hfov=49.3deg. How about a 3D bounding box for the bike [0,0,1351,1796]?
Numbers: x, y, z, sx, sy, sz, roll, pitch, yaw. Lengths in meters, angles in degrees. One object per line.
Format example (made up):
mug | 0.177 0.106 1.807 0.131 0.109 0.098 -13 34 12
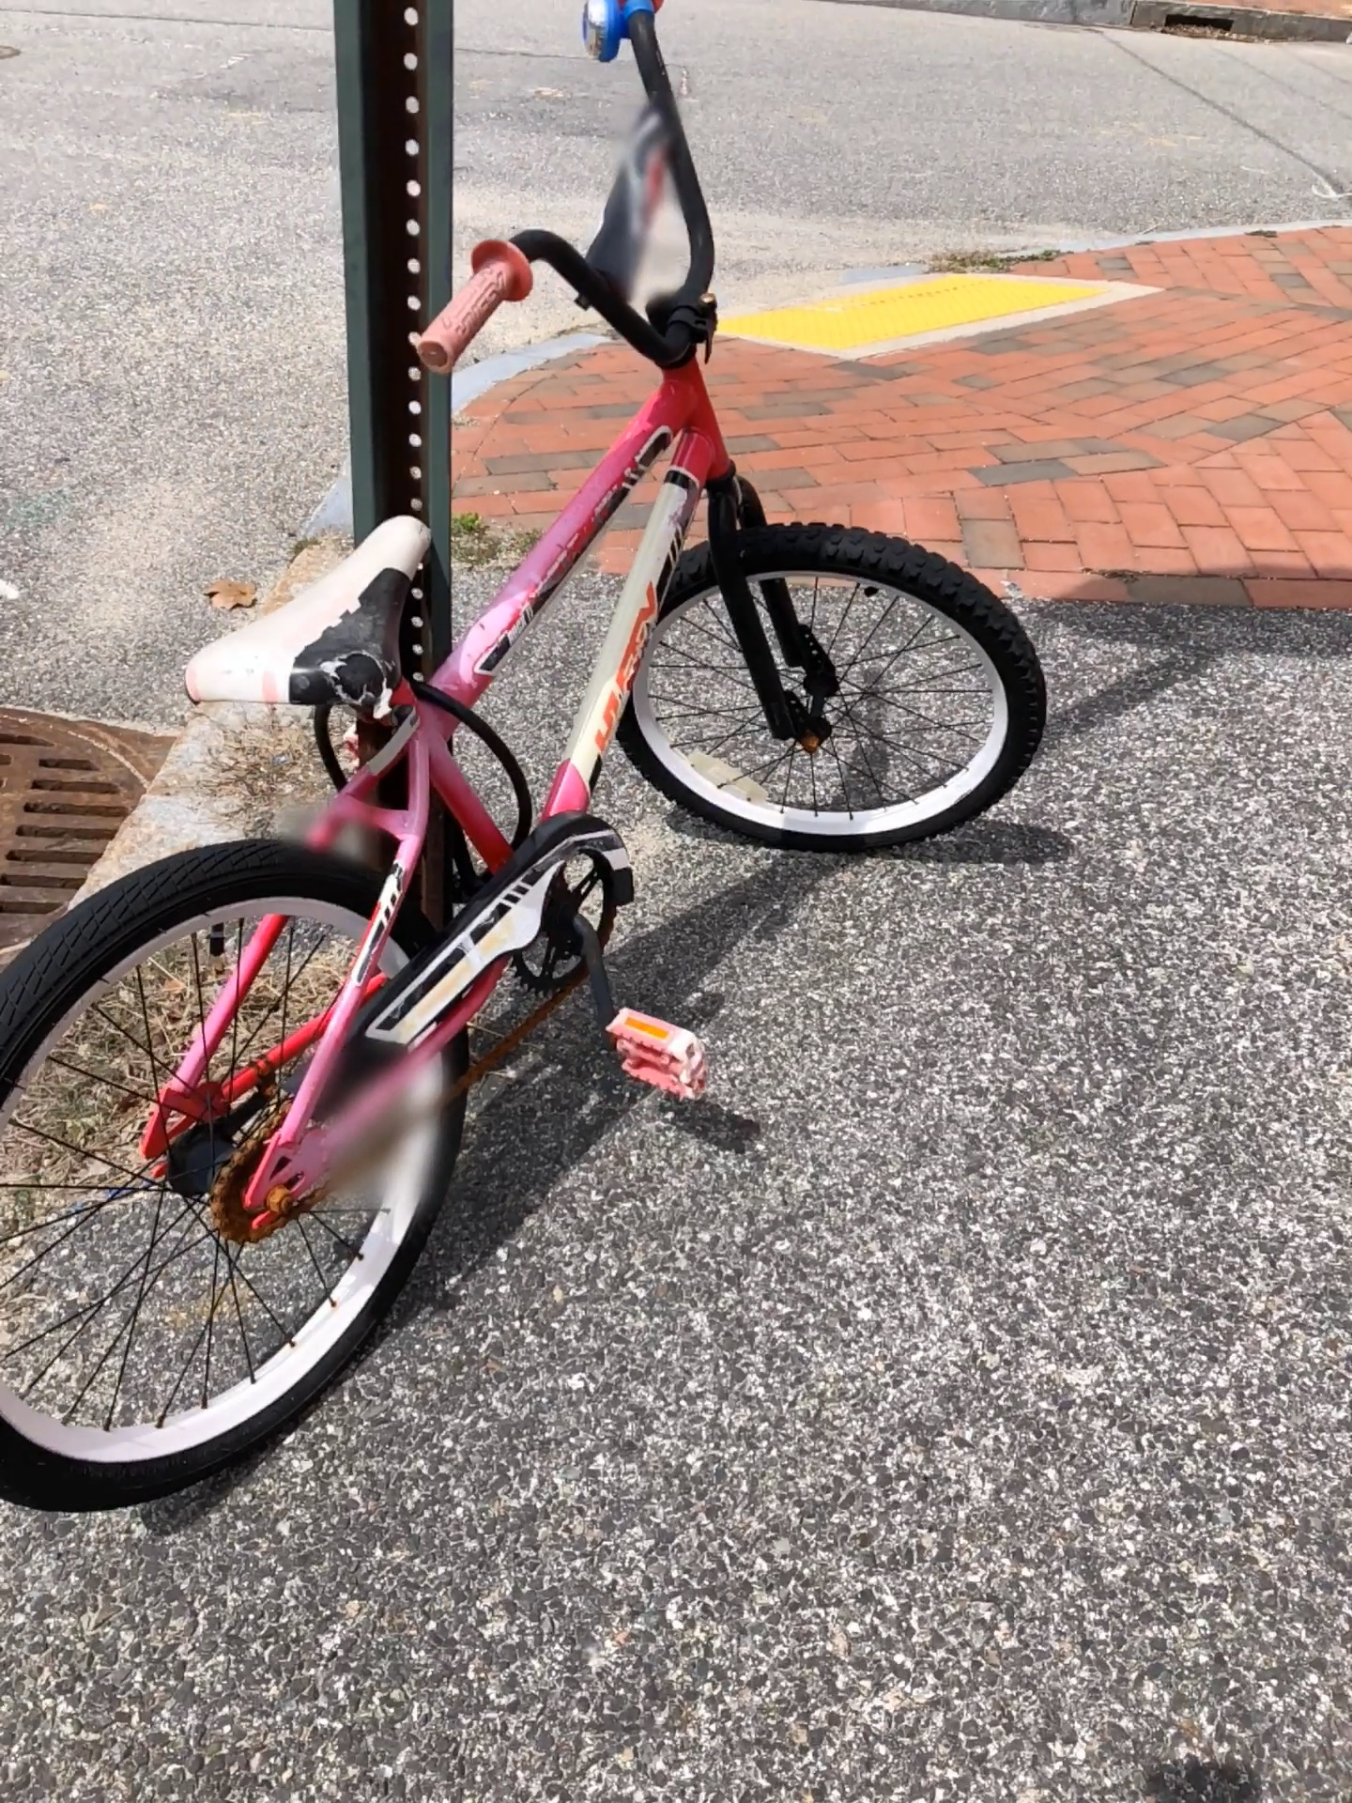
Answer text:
bike | -0.042 -0.178 1.099 0.696 0.887 1.182 31 44 27
